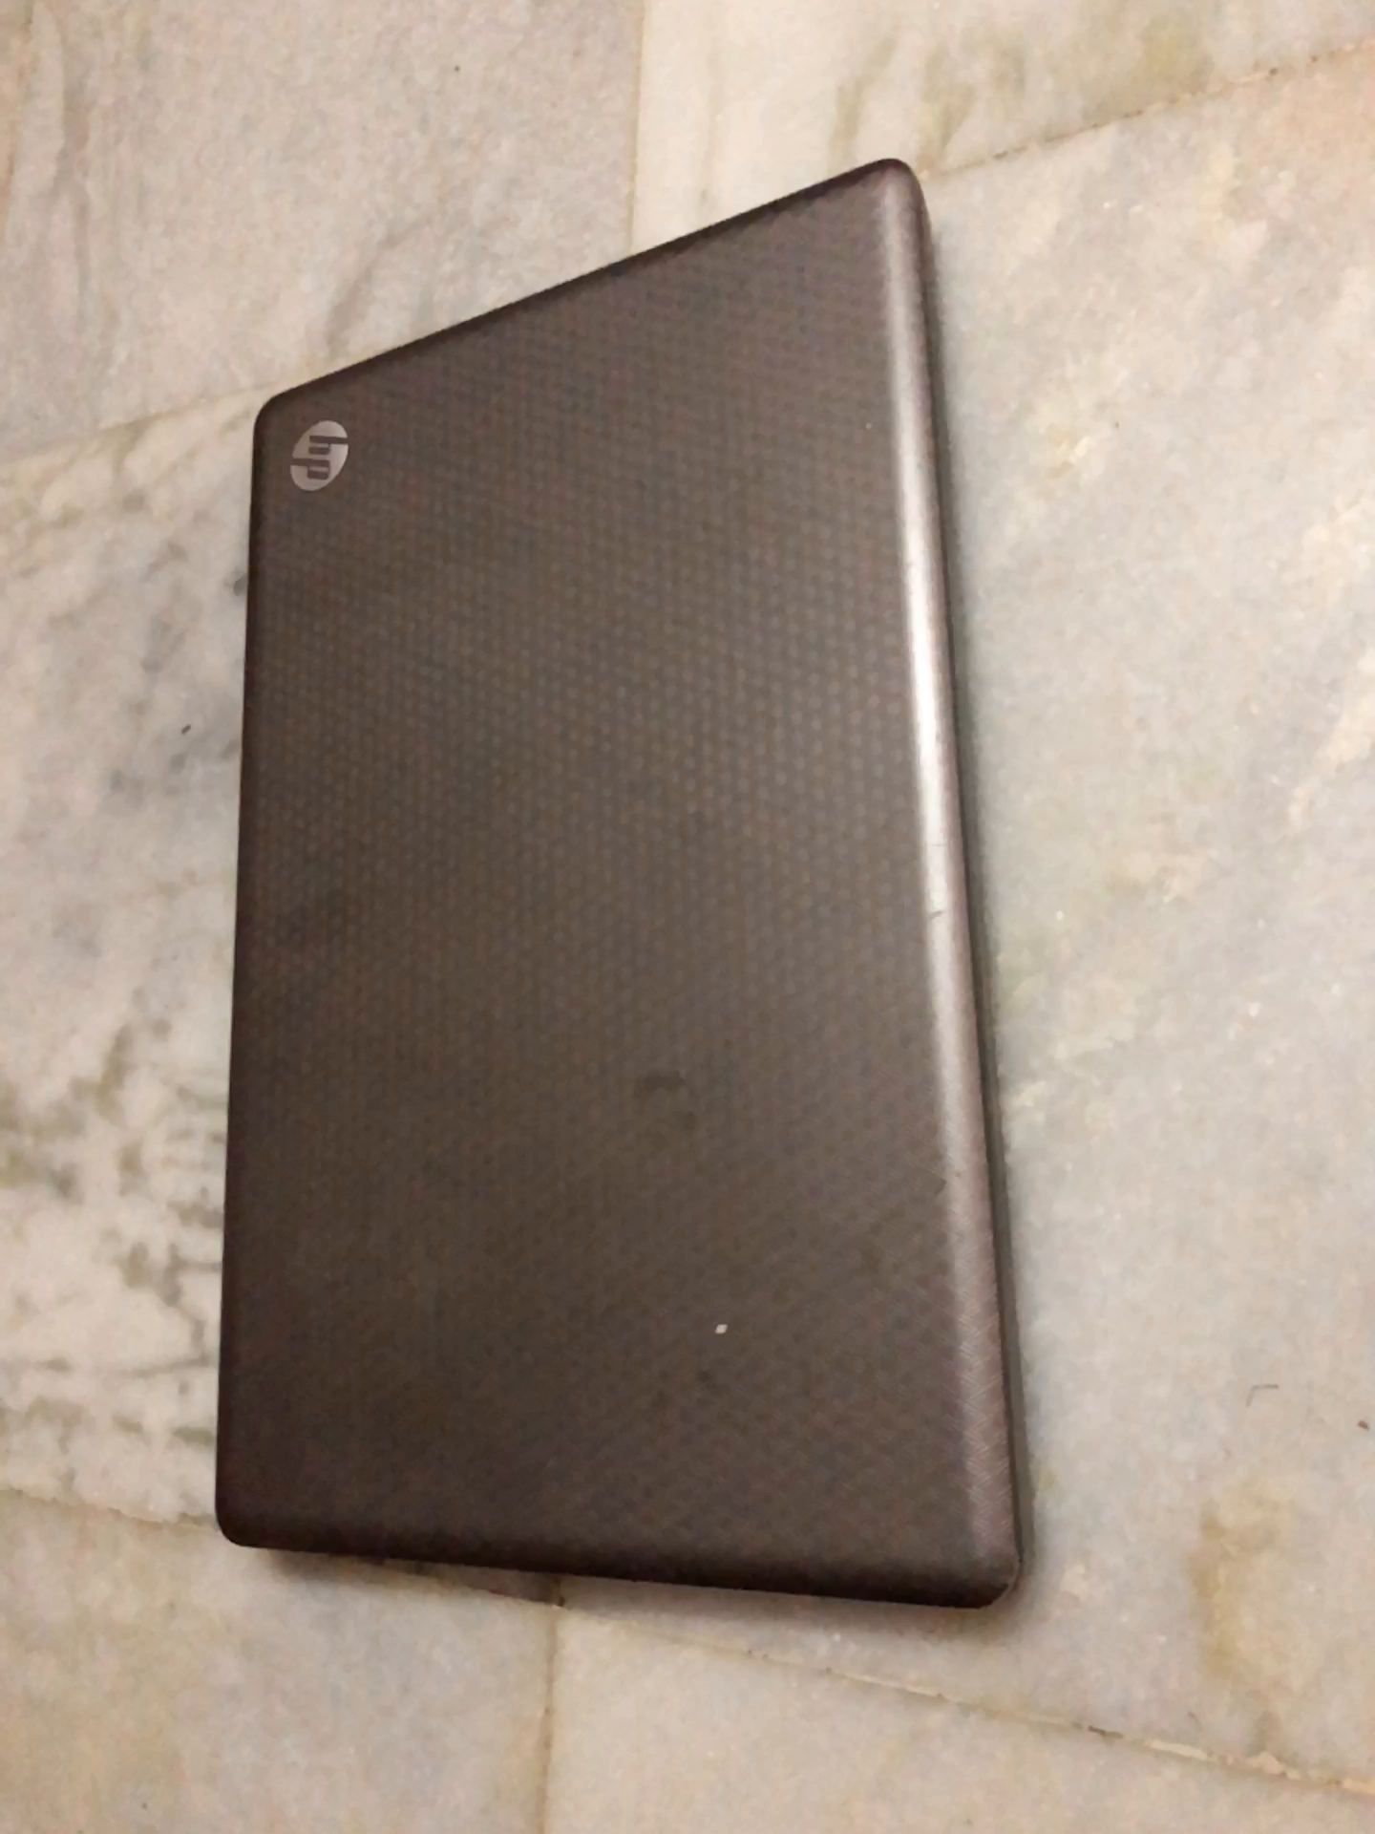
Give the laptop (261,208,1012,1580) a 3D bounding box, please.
[{"bbox_3d":[-0.034,-0.007,0.468,0.248,0.002,0.378,-8,77,29],"label":"laptop"}]
